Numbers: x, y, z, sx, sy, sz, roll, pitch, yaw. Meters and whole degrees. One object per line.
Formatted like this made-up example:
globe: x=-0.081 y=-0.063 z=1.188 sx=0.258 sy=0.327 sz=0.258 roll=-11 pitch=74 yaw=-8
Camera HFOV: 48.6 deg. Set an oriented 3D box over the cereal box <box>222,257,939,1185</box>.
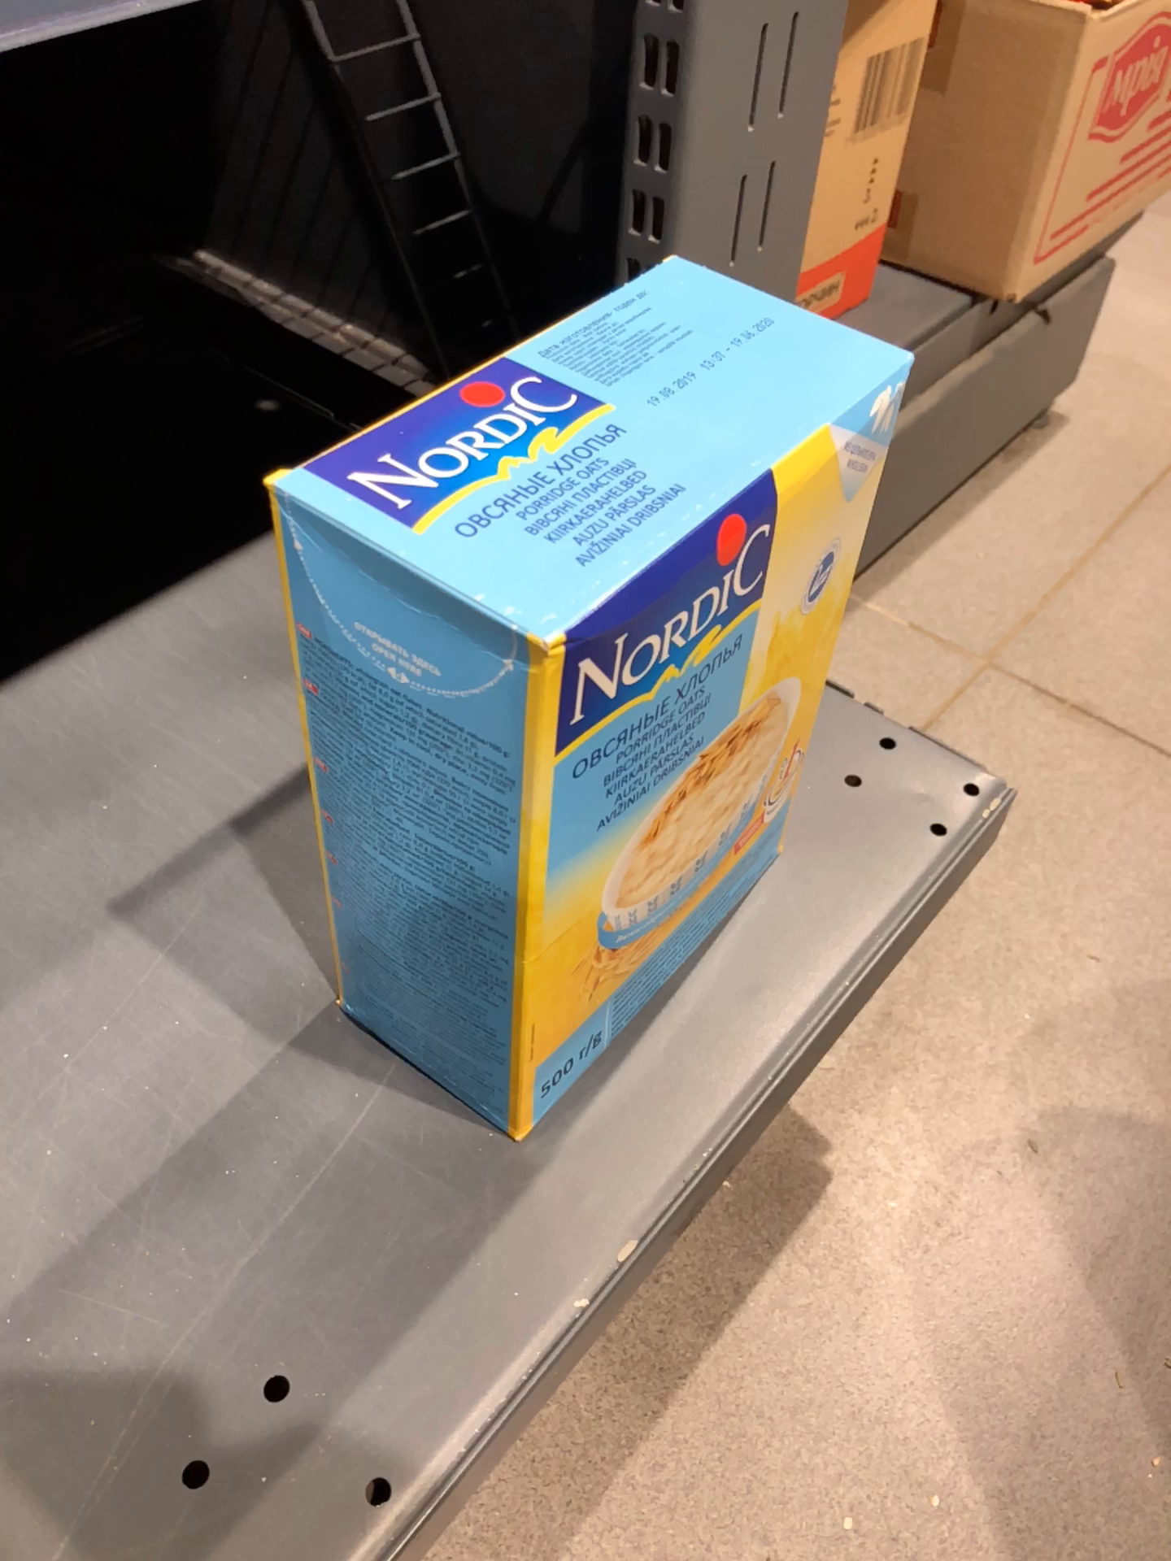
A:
cereal box: x=0.002 y=-0.014 z=0.343 sx=0.080 sy=0.179 sz=0.151 roll=30 pitch=51 yaw=23
